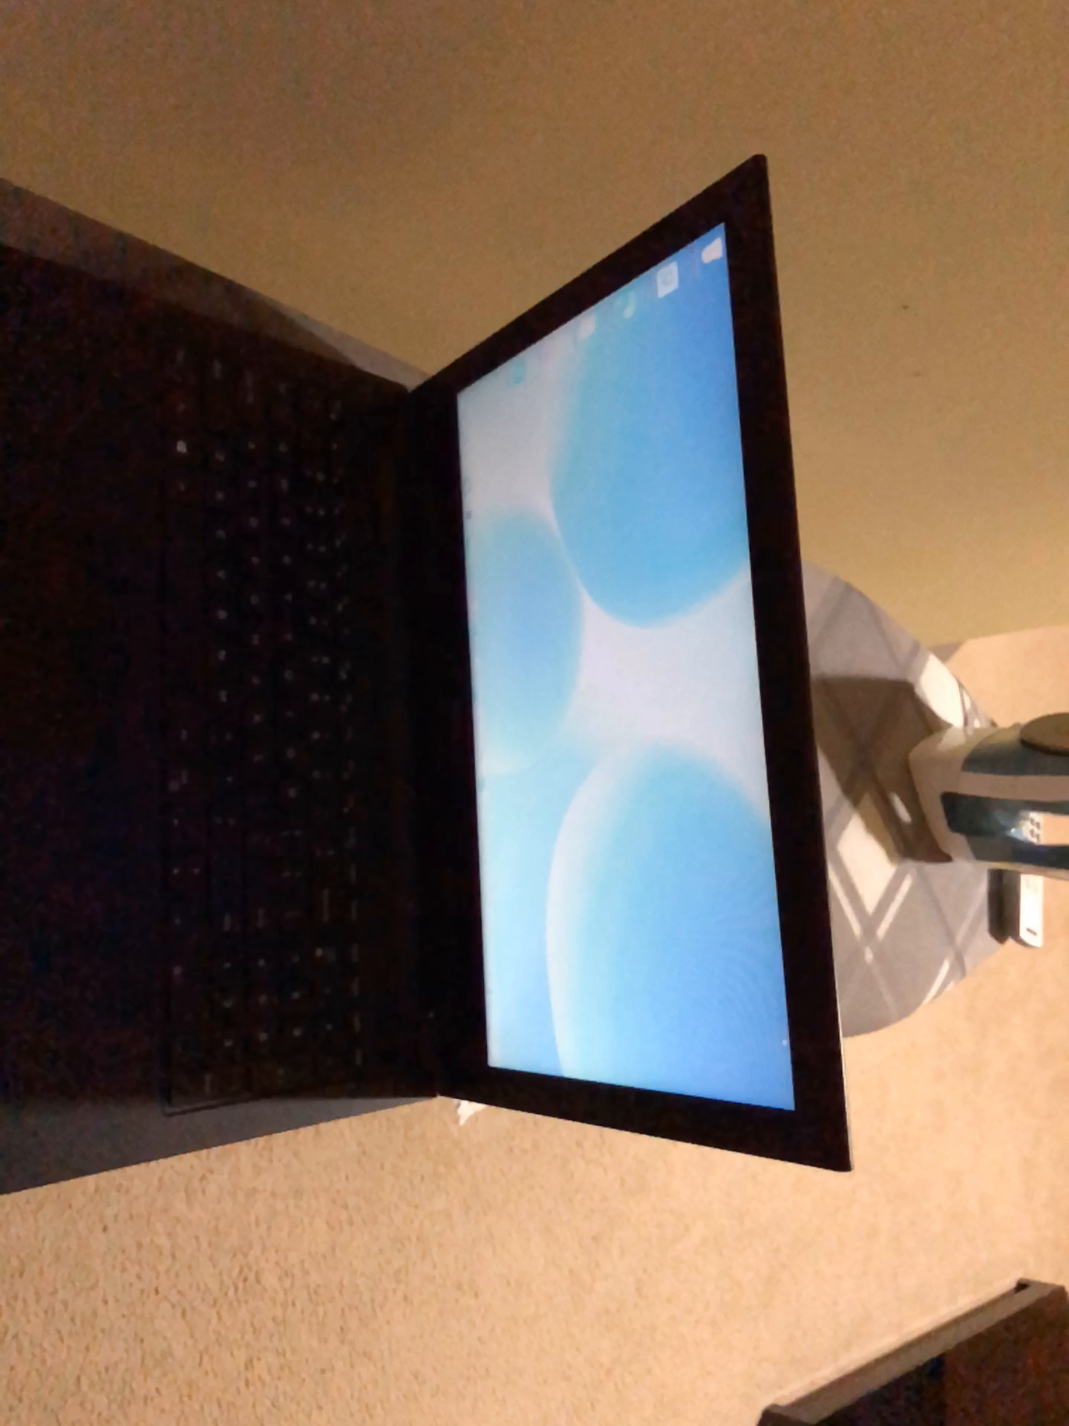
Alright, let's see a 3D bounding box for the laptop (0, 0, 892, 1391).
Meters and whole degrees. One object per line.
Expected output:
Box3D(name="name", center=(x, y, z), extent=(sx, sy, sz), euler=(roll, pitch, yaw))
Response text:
Box3D(name="laptop", center=(-0.056, -0.015, 0.425), extent=(0.248, 0.231, 0.352), euler=(5, 78, -46))
